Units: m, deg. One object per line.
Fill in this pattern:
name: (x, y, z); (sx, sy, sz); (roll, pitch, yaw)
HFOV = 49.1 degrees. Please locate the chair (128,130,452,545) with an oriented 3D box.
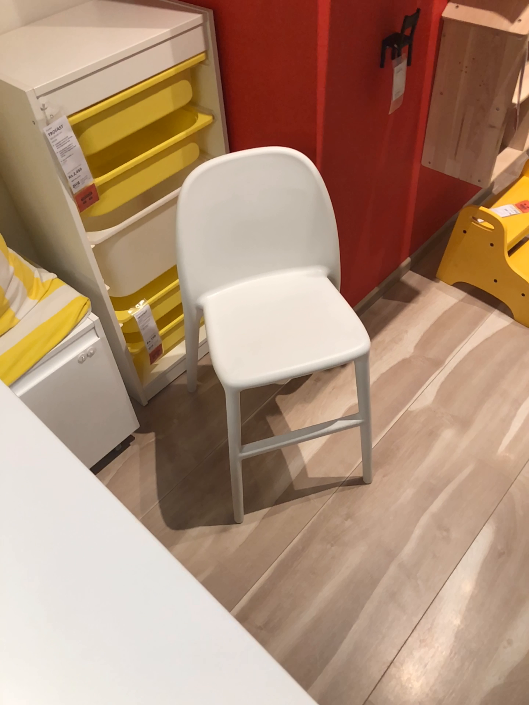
chair: (0.027, 0.003, 1.250); (0.420, 0.706, 0.463); (-15, 52, -9)
